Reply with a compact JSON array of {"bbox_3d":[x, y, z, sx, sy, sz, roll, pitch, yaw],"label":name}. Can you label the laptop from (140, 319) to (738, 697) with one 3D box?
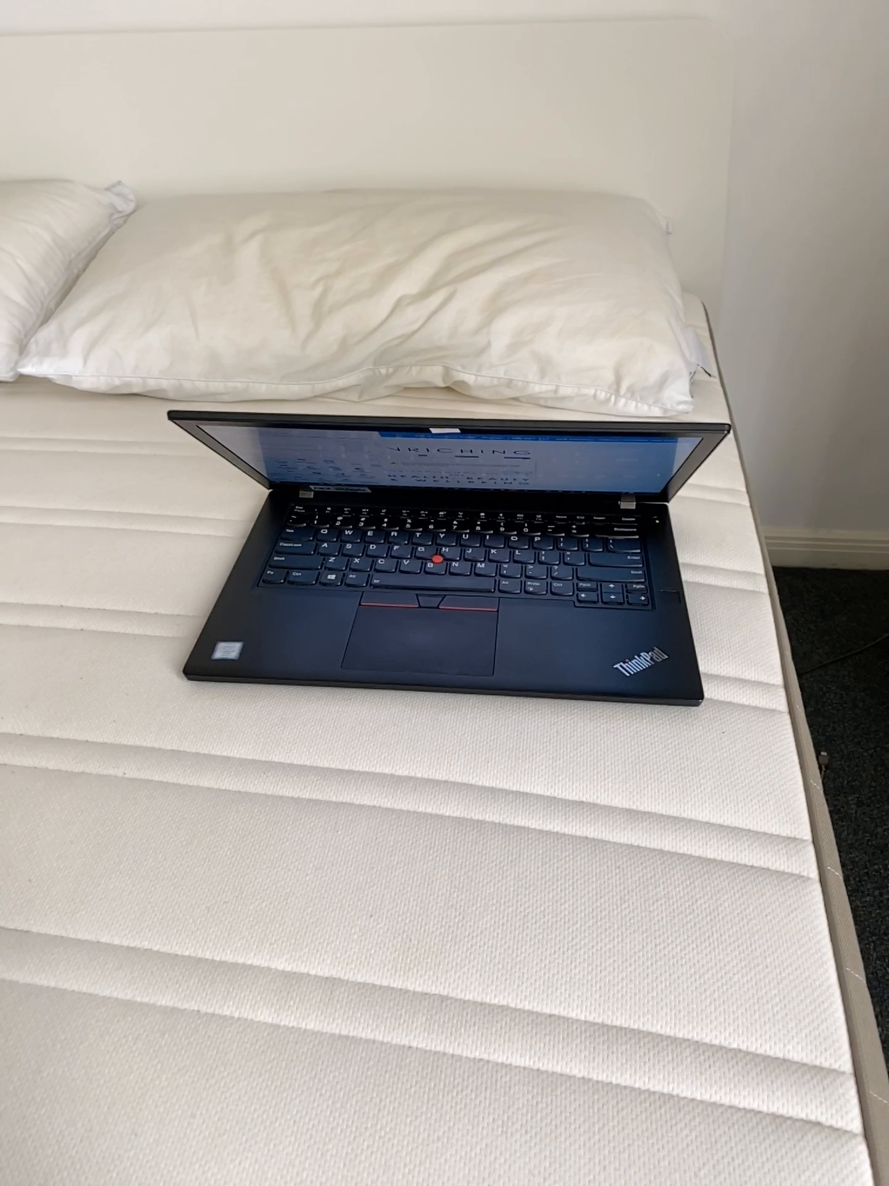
[{"bbox_3d":[0.006,-0.069,0.620,0.324,0.150,0.221,2,38,5],"label":"laptop"}]
